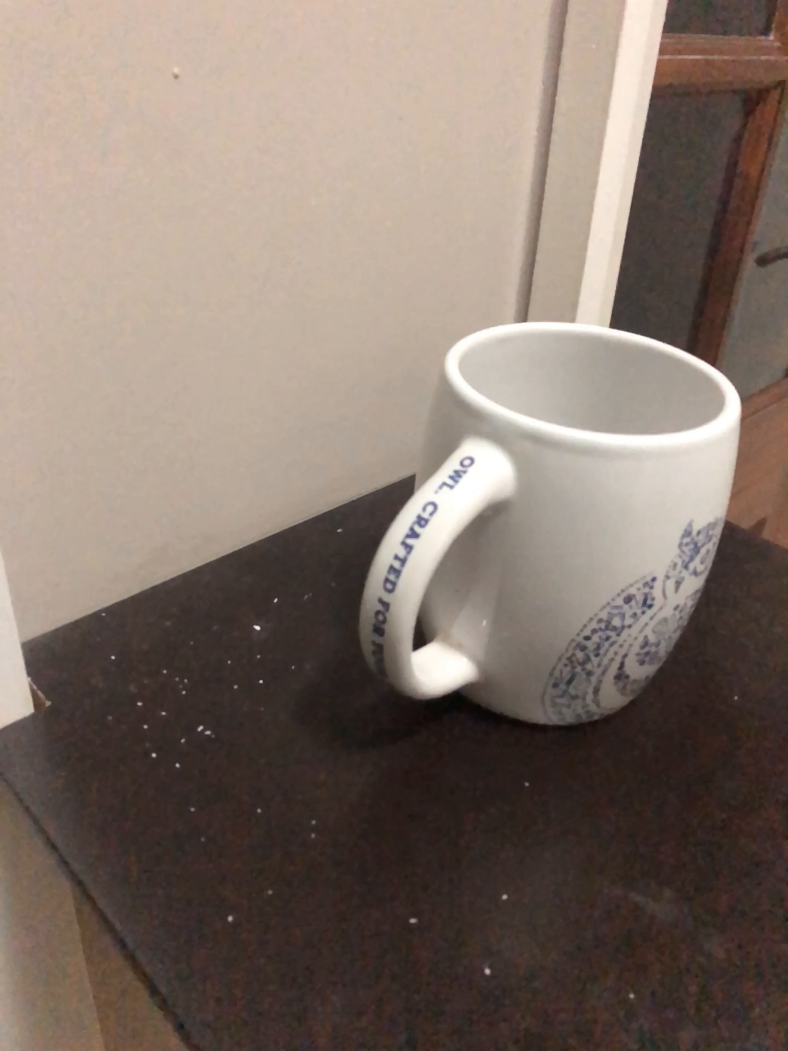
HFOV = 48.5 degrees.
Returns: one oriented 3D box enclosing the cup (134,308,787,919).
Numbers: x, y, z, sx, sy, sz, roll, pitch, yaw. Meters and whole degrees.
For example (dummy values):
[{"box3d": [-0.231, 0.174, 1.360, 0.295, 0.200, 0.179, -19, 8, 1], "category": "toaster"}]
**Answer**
[{"box3d": [0.020, 0.005, 0.230, 0.131, 0.079, 0.100, -24, 40, -38], "category": "cup"}]
